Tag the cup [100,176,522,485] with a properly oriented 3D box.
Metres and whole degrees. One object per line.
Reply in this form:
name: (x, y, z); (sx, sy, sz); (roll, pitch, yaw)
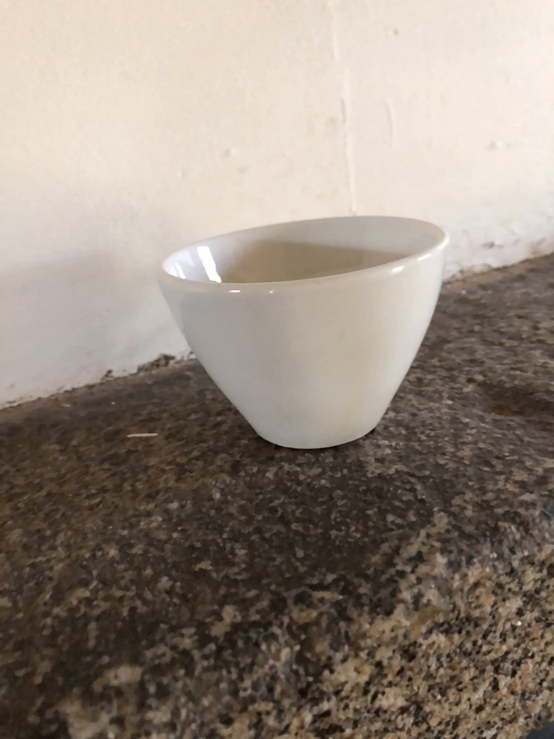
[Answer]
cup: (0.018, -0.022, 0.187); (0.080, 0.050, 0.101); (9, 28, 34)
